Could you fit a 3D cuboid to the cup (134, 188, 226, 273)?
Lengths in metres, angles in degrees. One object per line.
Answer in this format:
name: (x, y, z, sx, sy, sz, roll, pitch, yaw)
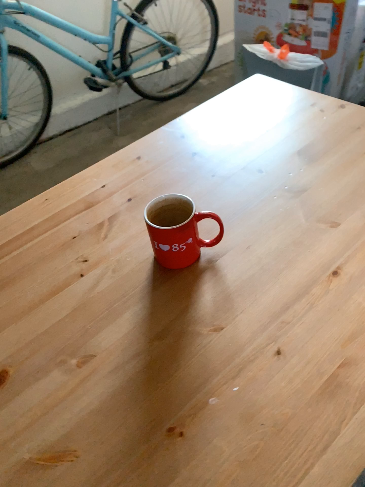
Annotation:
cup: (0.003, -0.020, 0.608, 0.130, 0.090, 0.100, -1, 48, 9)
